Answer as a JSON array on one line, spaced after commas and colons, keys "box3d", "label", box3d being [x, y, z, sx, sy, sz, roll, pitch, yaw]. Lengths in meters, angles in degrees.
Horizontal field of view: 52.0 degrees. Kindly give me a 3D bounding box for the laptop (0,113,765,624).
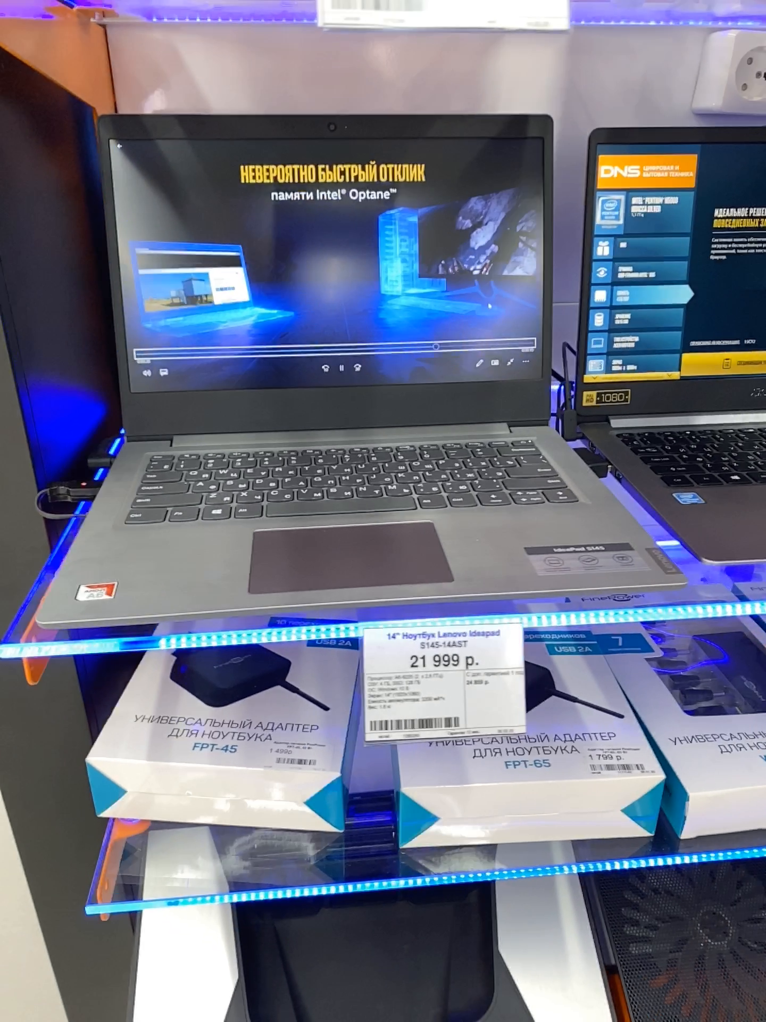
[{"box3d": [-0.019, -0.118, 0.477, 0.327, 0.215, 0.304, -3, 26, -5], "label": "laptop"}]
